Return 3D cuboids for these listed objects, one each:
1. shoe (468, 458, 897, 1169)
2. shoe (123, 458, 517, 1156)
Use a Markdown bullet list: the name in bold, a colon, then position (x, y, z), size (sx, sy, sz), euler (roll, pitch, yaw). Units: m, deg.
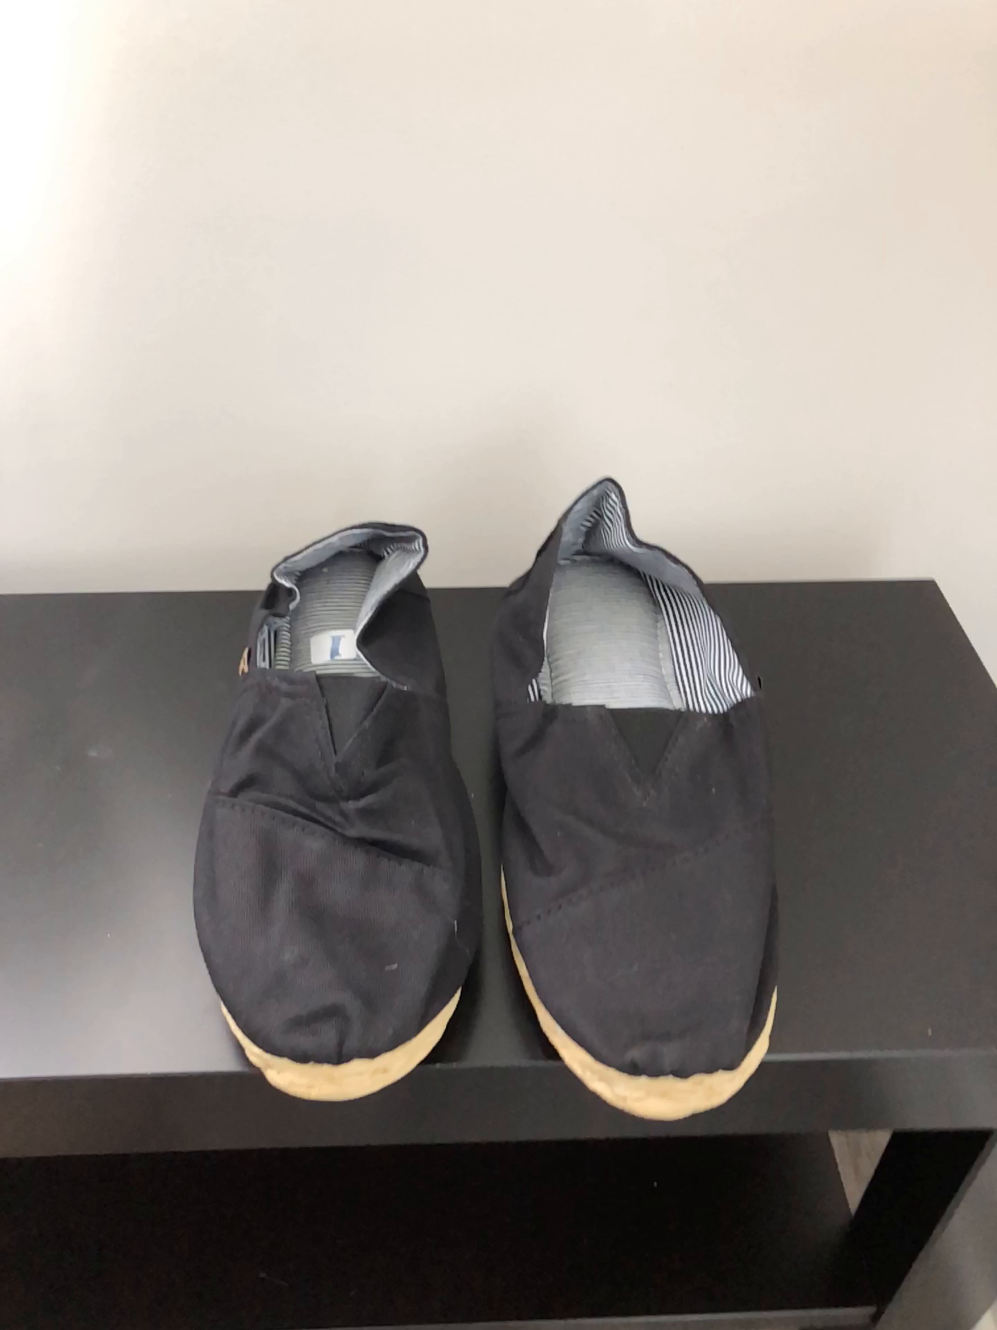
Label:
- **shoe**: position (0.043, 0.029, 0.408), size (0.101, 0.080, 0.275), euler (-1, 41, -3)
- **shoe**: position (-0.053, 0.028, 0.414), size (0.101, 0.080, 0.275), euler (-1, 41, -3)
